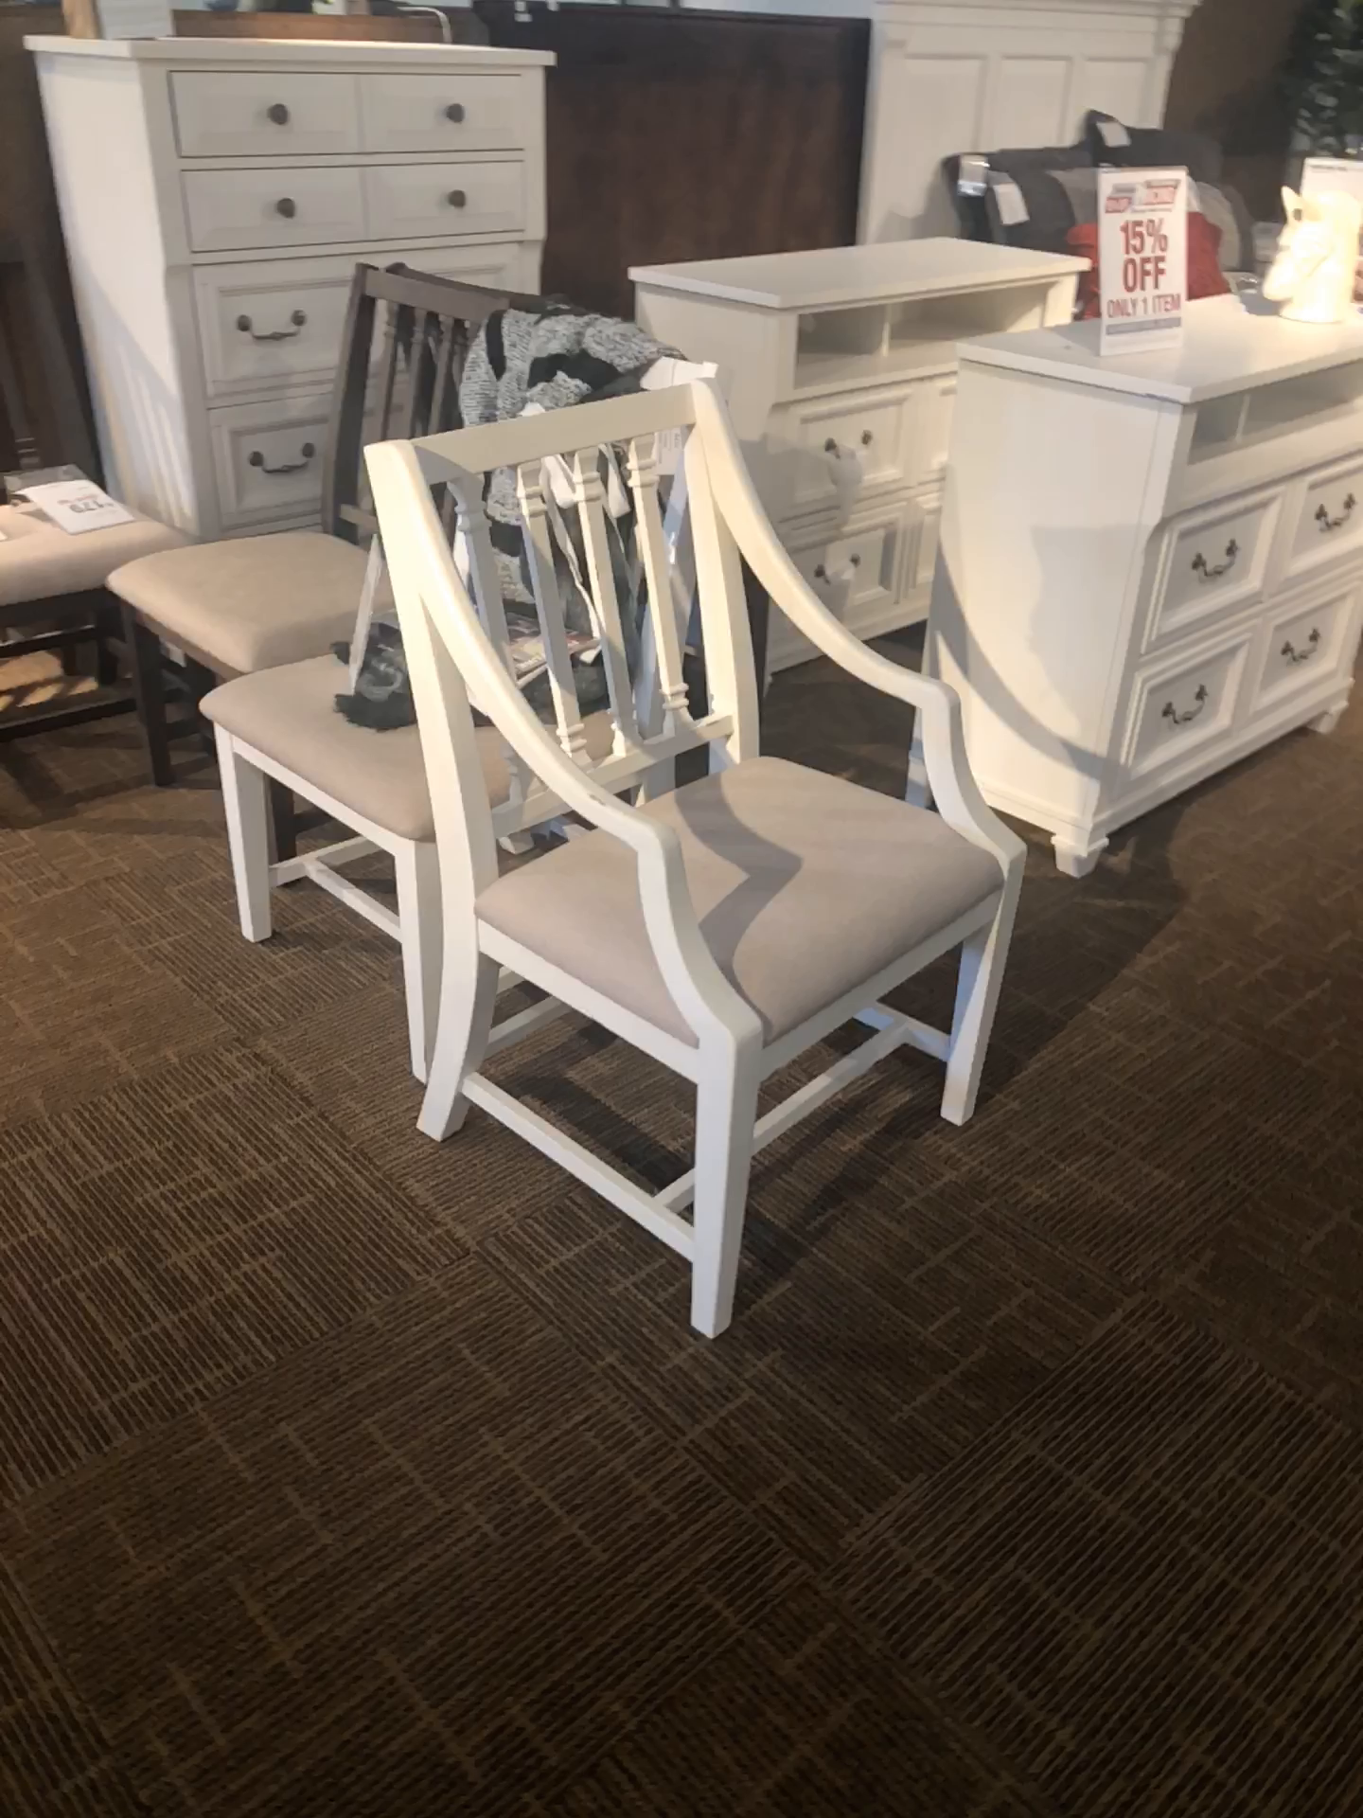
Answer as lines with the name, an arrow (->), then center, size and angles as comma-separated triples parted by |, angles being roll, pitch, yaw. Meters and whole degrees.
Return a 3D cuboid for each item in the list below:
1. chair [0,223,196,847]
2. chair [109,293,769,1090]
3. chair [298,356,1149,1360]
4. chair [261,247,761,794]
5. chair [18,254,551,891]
chair -> -1.361, -0.730, 2.812 | 0.541, 0.955, 0.602 | -20, 37, -33
chair -> -0.323, -0.353, 2.151 | 0.642, 0.885, 0.561 | -24, 39, -37
chair -> 0.037, -0.120, 1.802 | 0.631, 0.885, 0.652 | 27, 39, 37
chair -> -0.372, -0.882, 3.214 | 0.602, 0.885, 0.872 | -23, 38, -36
chair -> -0.682, -0.641, 2.680 | 0.582, 0.885, 0.682 | -24, 39, -37
